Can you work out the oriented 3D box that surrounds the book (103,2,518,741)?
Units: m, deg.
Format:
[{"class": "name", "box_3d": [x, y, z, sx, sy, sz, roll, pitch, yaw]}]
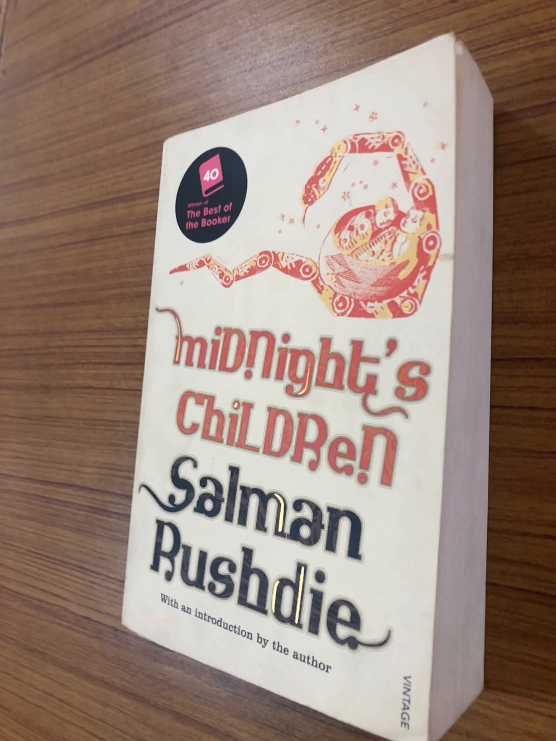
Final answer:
[{"class": "book", "box_3d": [0.005, 0.002, 0.221, 0.141, 0.040, 0.200, -1, 83, 40]}]
